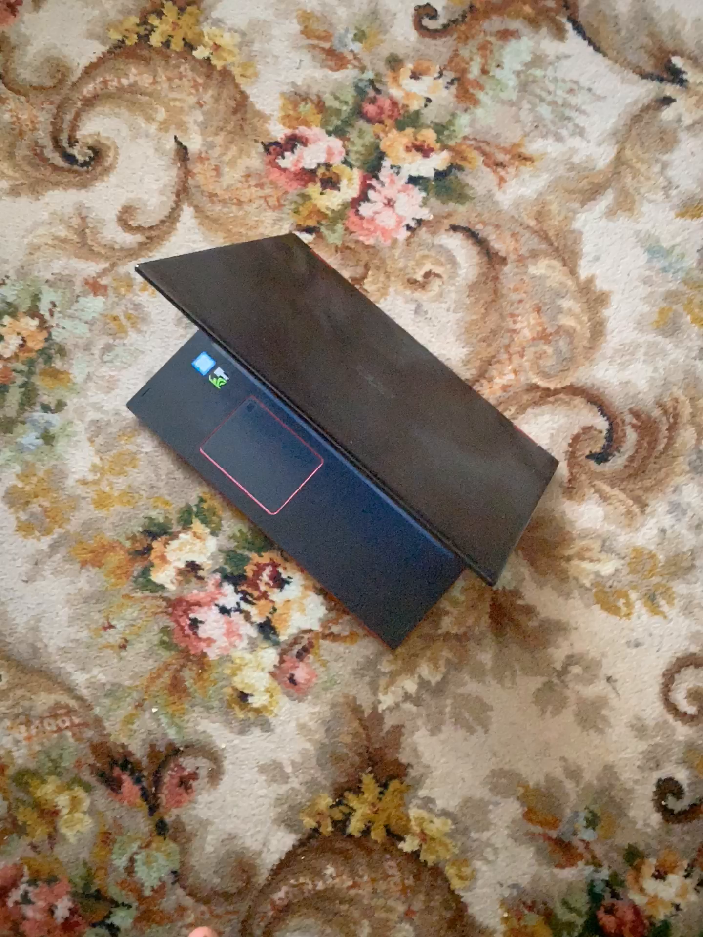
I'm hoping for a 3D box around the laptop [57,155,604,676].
[{"bbox_3d":[-0.020,-0.037,0.633,0.356,0.173,0.224,42,86,5],"label":"laptop"}]
